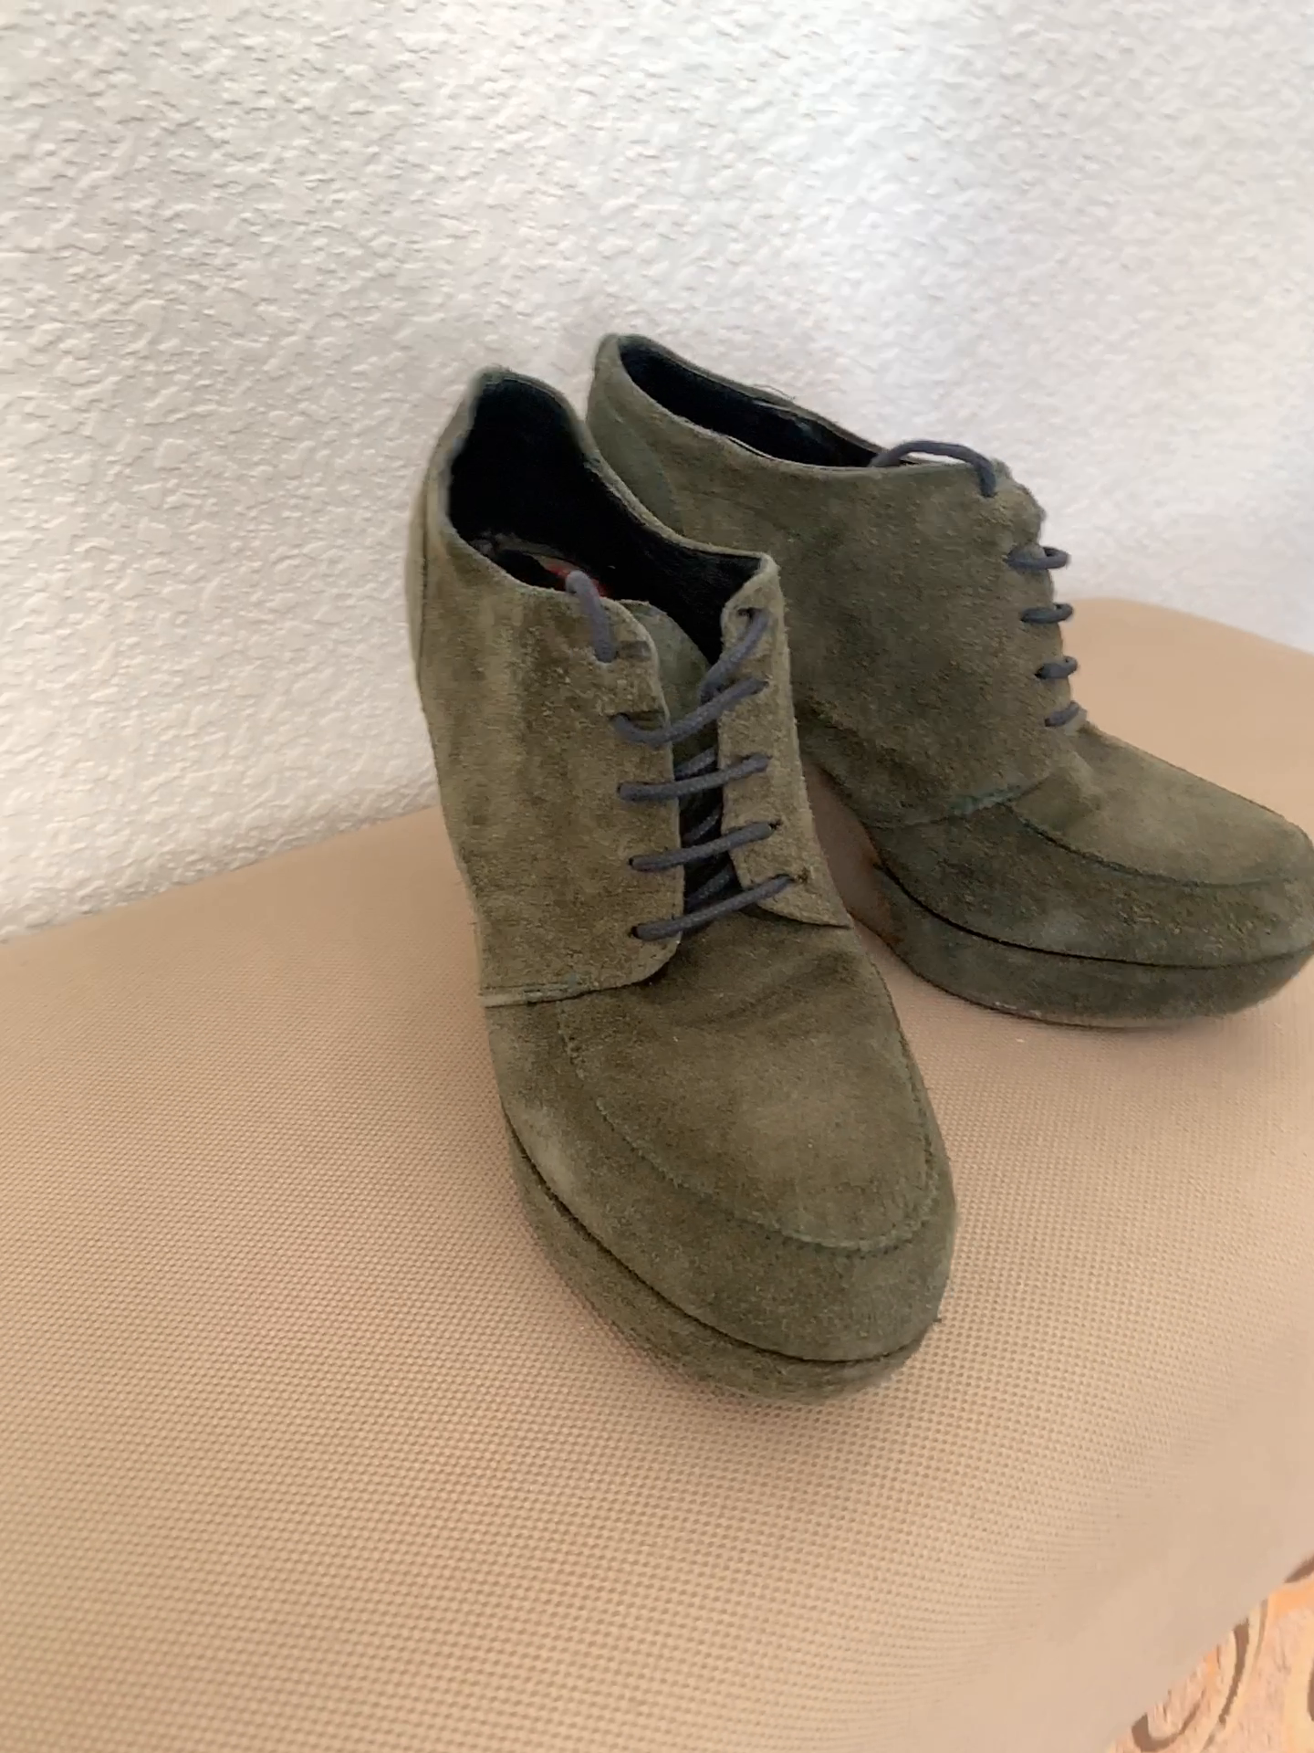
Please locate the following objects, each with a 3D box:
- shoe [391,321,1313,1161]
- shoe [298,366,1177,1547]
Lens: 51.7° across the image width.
[{"bbox_3d":[0.058,-0.053,0.383,0.271,0.139,0.081,23,41,27],"label":"shoe"},{"bbox_3d":[-0.010,-0.009,0.300,0.086,0.136,0.230,-11,37,-17],"label":"shoe"}]
